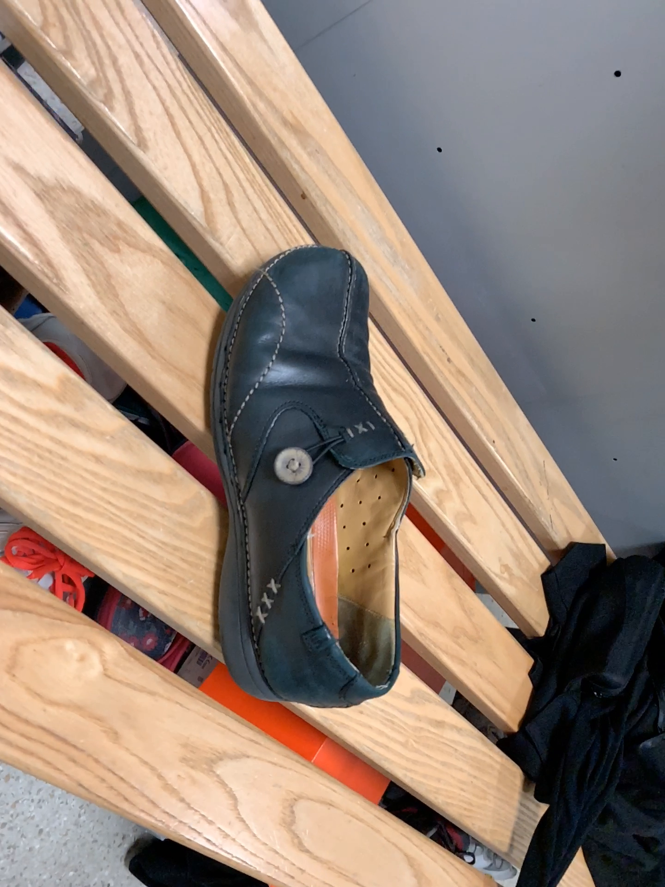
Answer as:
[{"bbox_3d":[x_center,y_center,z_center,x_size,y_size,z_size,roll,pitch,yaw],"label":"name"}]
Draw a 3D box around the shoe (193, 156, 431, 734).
[{"bbox_3d":[-0.008,0.001,0.377,0.105,0.075,0.268,6,82,-46],"label":"shoe"}]
